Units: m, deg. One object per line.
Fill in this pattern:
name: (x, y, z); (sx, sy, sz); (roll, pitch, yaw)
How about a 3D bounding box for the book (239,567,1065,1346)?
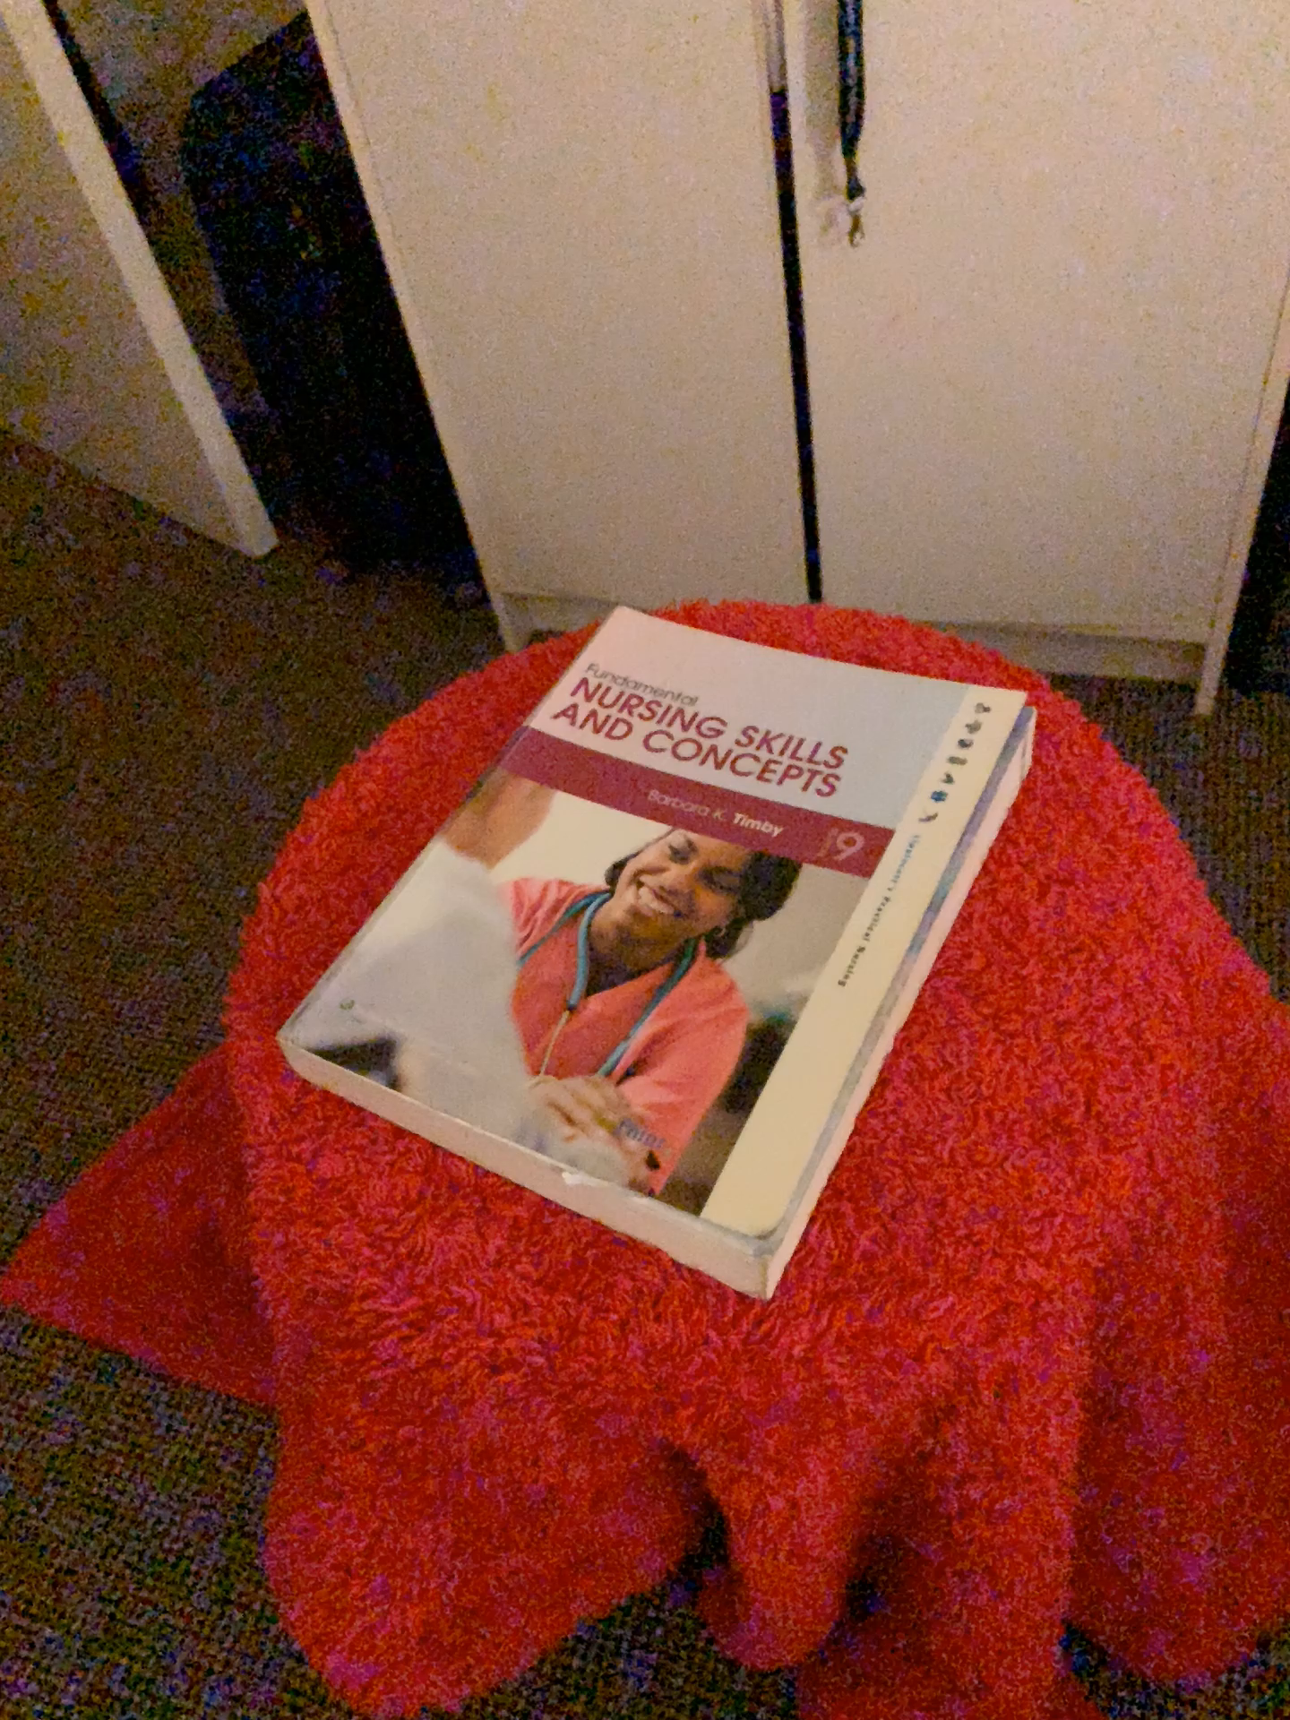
book: (0.018, 0.012, 0.574); (0.231, 0.069, 0.302); (18, 55, 25)
